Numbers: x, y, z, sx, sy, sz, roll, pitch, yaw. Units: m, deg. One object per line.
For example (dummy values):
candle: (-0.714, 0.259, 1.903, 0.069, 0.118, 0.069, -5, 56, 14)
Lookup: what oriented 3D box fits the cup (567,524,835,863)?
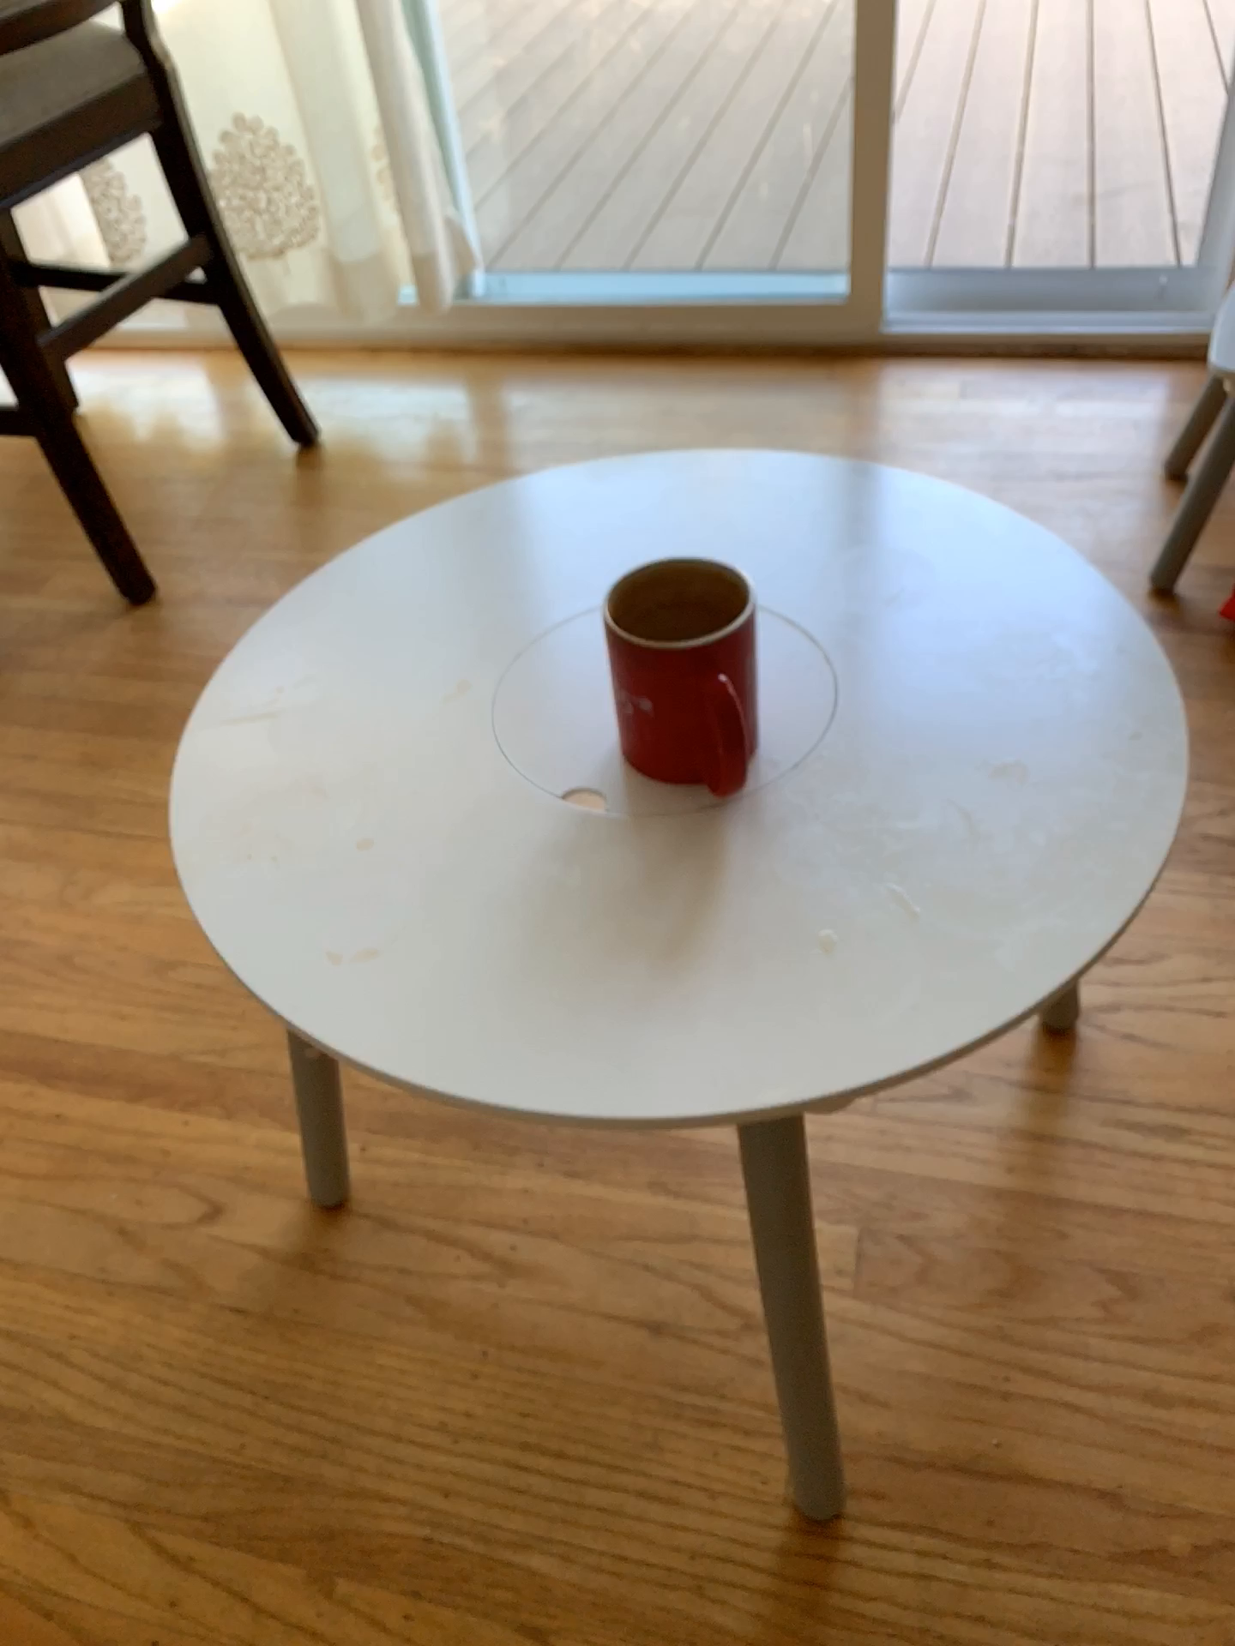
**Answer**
cup: (0.045, -0.075, 0.712, 0.090, 0.100, 0.151, -19, 45, -10)
